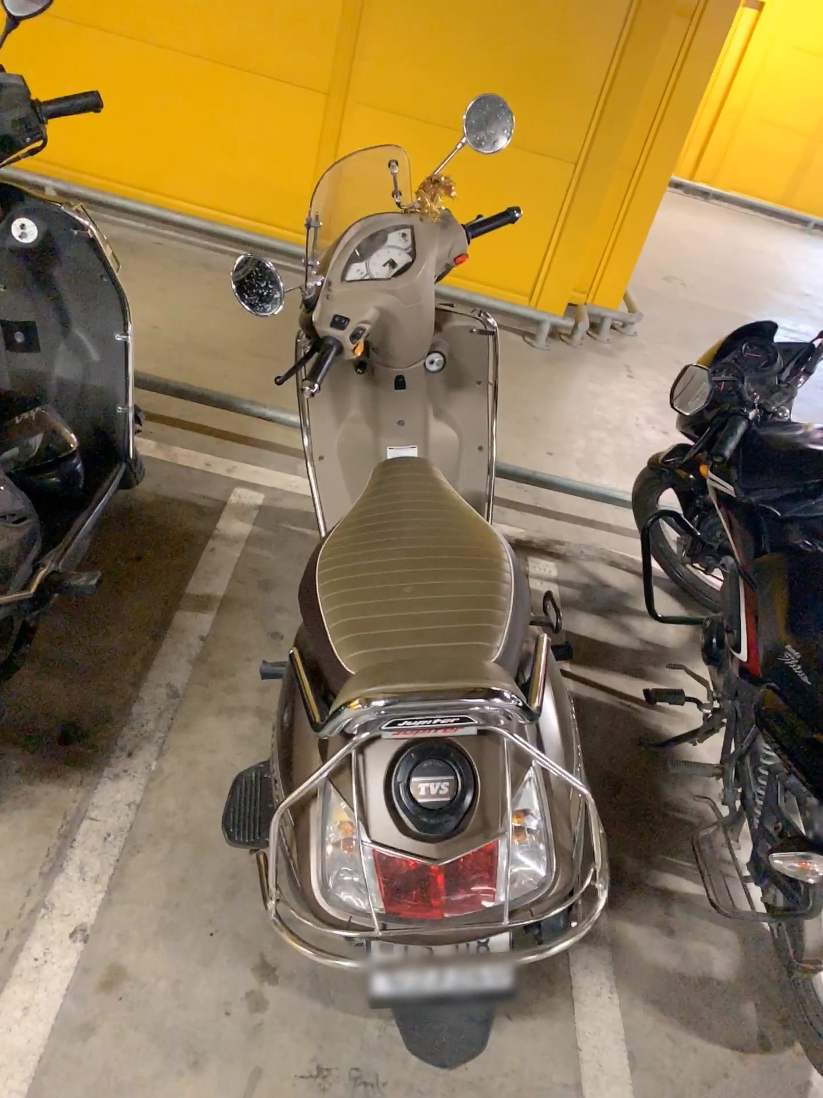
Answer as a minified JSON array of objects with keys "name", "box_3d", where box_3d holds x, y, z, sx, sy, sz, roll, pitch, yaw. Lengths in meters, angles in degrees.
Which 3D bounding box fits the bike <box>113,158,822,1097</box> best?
[{"name":"bike","box_3d":[-0.137,-0.007,1.628,0.603,1.027,1.562,7,33,-15]}]
